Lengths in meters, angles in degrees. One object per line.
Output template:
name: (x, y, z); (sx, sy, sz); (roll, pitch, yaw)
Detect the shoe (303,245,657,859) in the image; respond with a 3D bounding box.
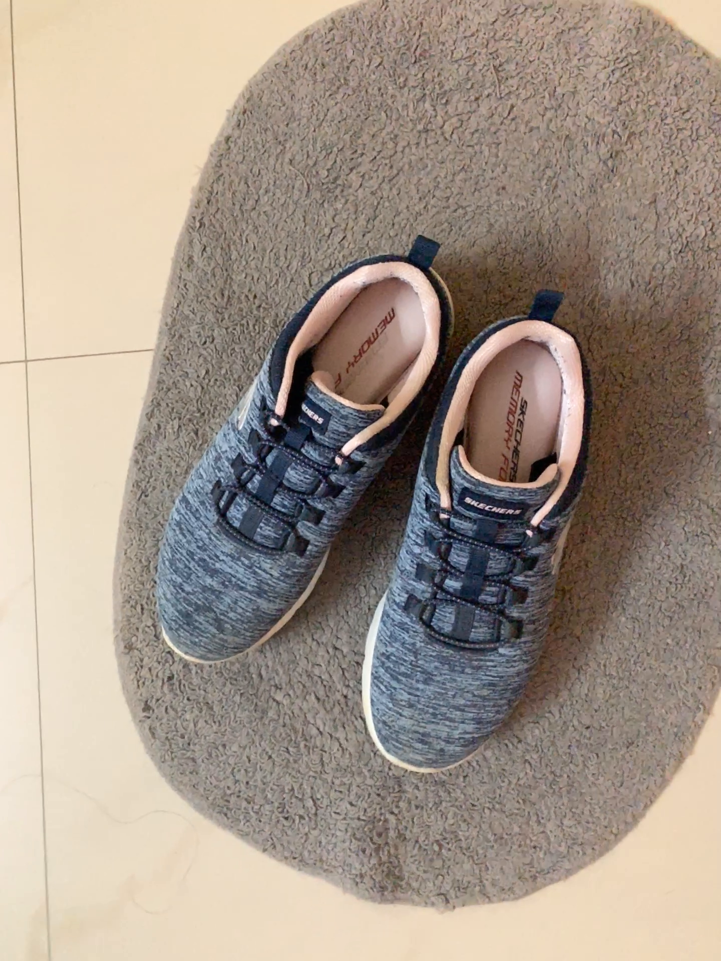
shoe: (0.065, 0.034, 0.421); (0.100, 0.100, 0.290); (16, 85, 6)

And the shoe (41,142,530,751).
shoe: (-0.031, -0.016, 0.384); (0.090, 0.100, 0.270); (32, 86, 3)
